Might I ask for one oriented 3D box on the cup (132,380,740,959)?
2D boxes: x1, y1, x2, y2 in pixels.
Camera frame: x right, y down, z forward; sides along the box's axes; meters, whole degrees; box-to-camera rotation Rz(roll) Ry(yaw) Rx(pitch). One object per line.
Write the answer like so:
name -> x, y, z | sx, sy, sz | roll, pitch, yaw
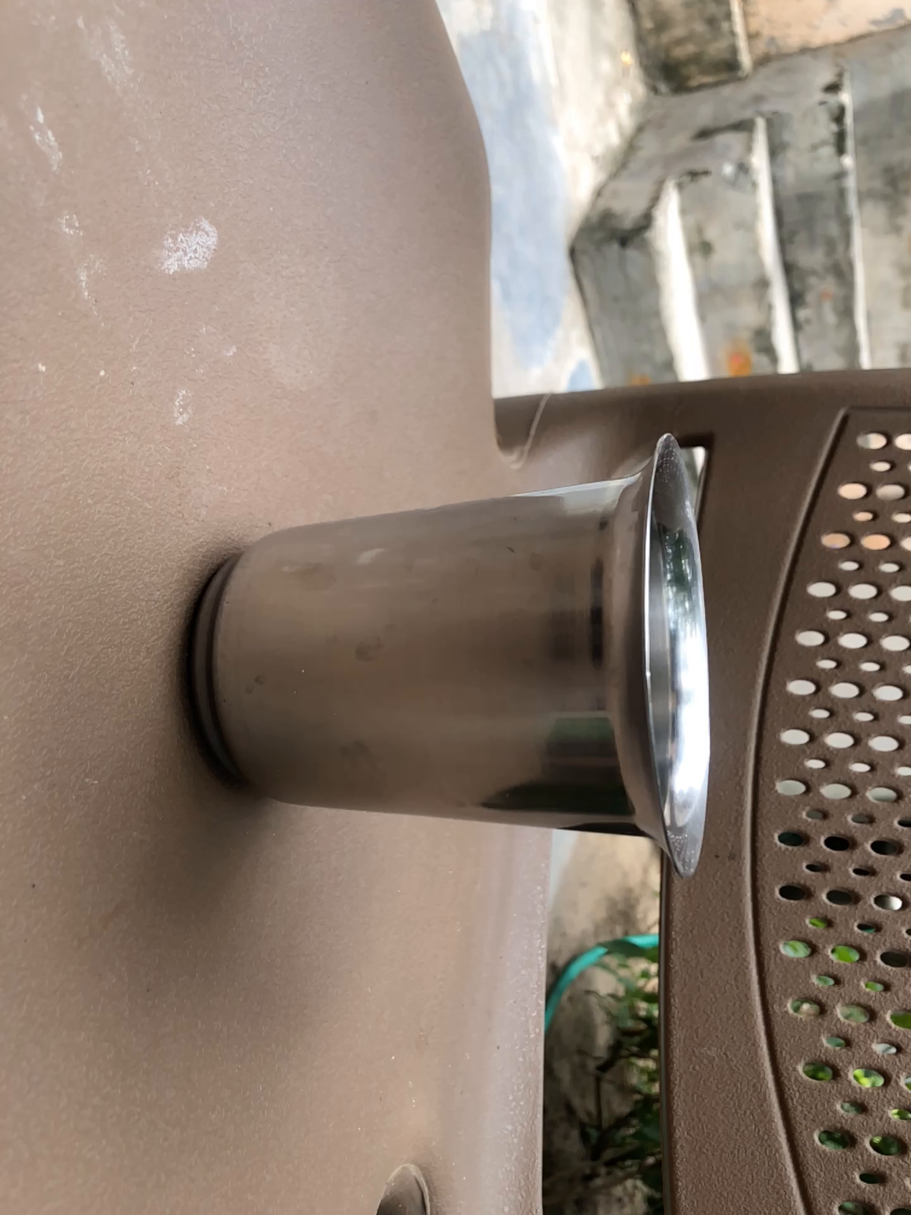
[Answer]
cup -> 0.005, 0.009, 0.217 | 0.080, 0.089, 0.090 | -42, 124, -62
